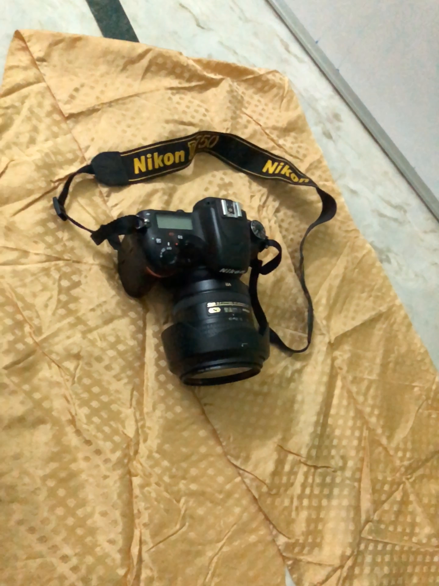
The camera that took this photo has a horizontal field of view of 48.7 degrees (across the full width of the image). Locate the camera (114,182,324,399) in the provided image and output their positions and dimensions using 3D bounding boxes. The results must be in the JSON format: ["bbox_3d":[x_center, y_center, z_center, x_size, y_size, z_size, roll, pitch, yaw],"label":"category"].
[{"bbox_3d":[-0.008,0.003,0.471,0.149,0.110,0.170,0,73,-28],"label":"camera"}]
